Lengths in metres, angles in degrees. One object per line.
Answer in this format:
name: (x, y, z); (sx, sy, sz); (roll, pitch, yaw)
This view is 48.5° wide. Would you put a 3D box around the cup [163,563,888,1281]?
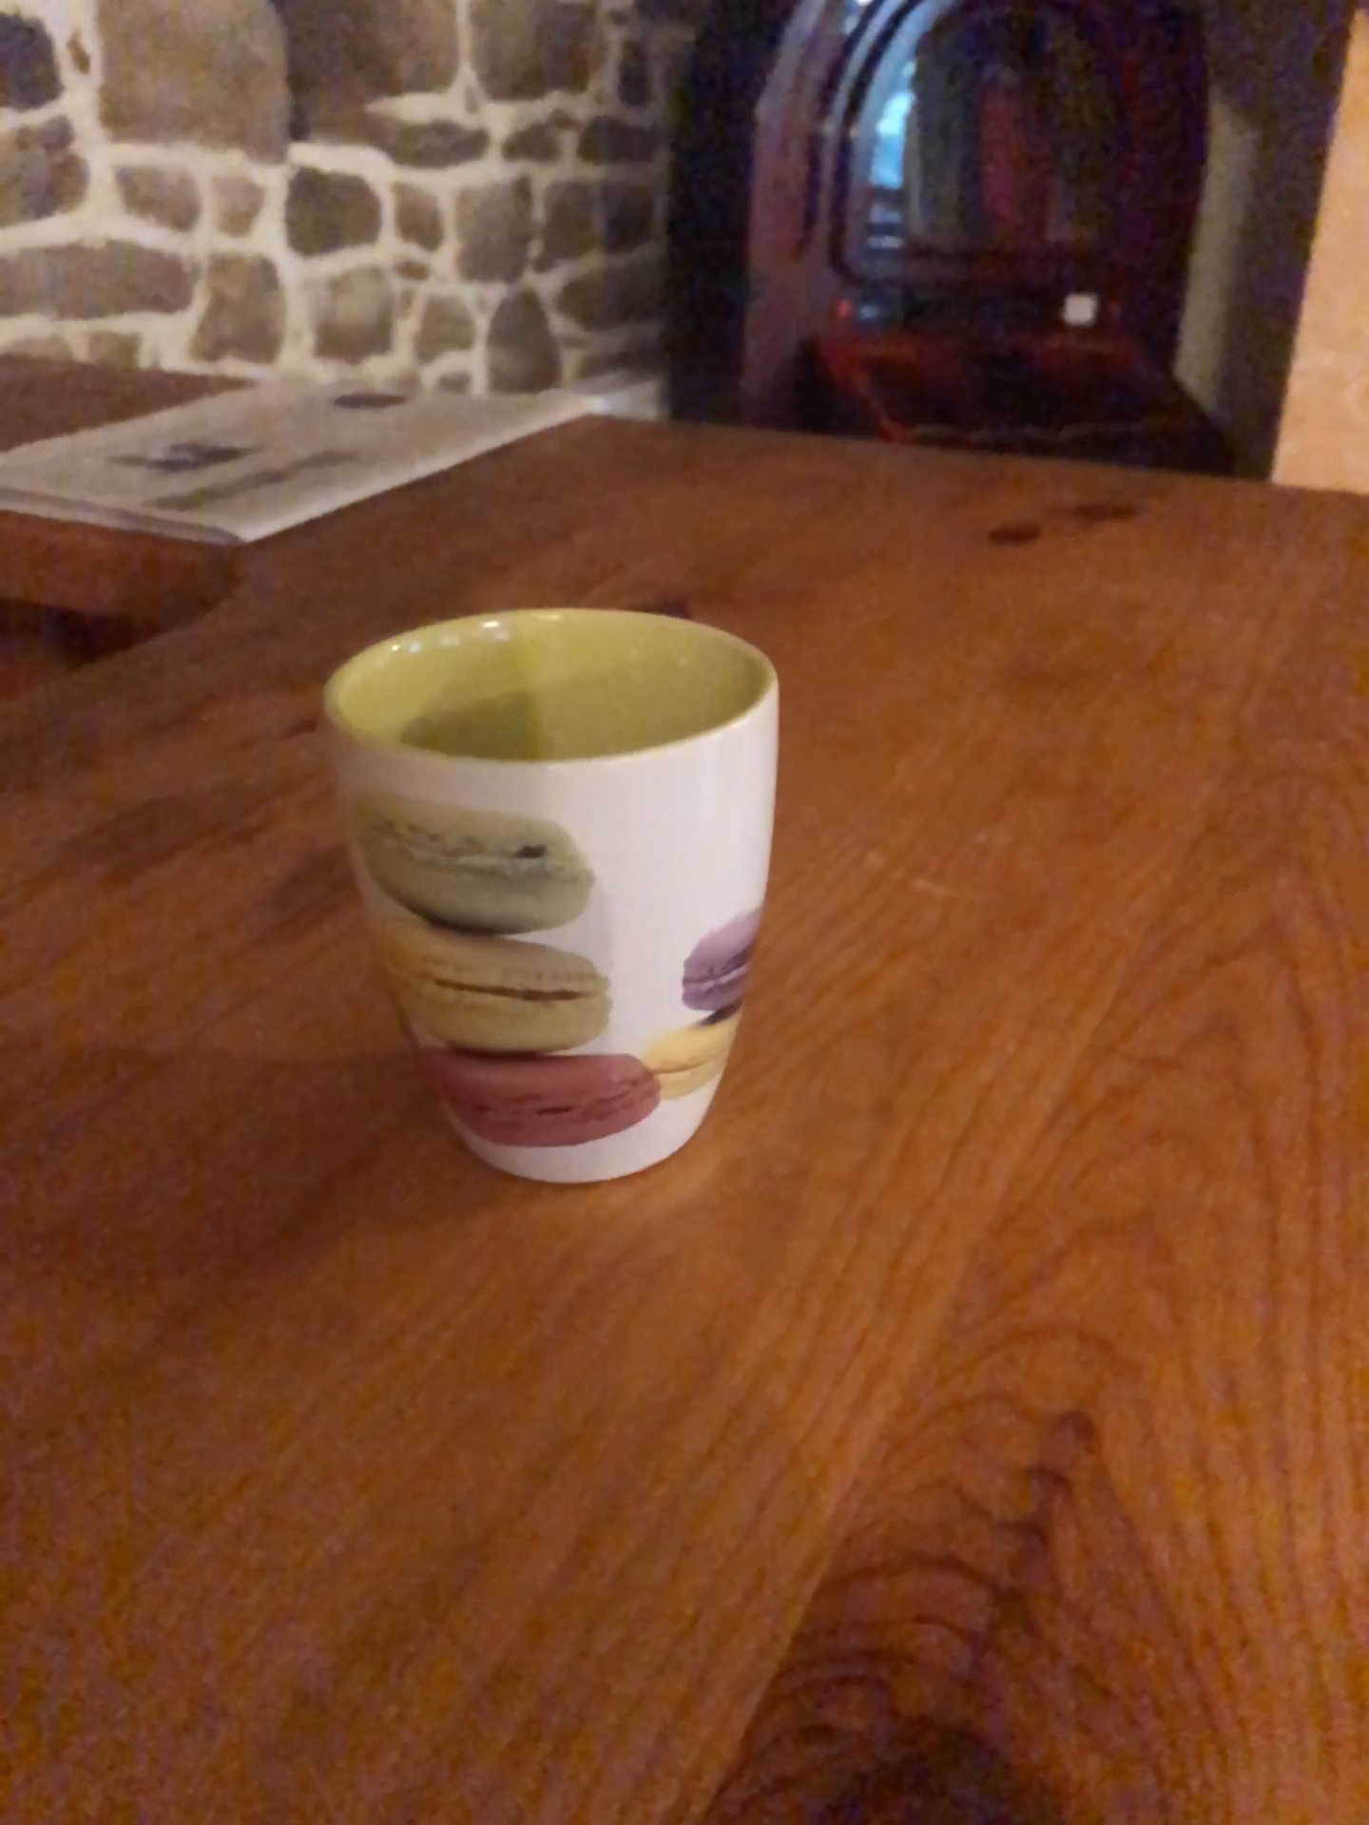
cup: (-0.035, -0.009, 0.341); (0.098, 0.099, 0.120); (-24, 37, -38)
